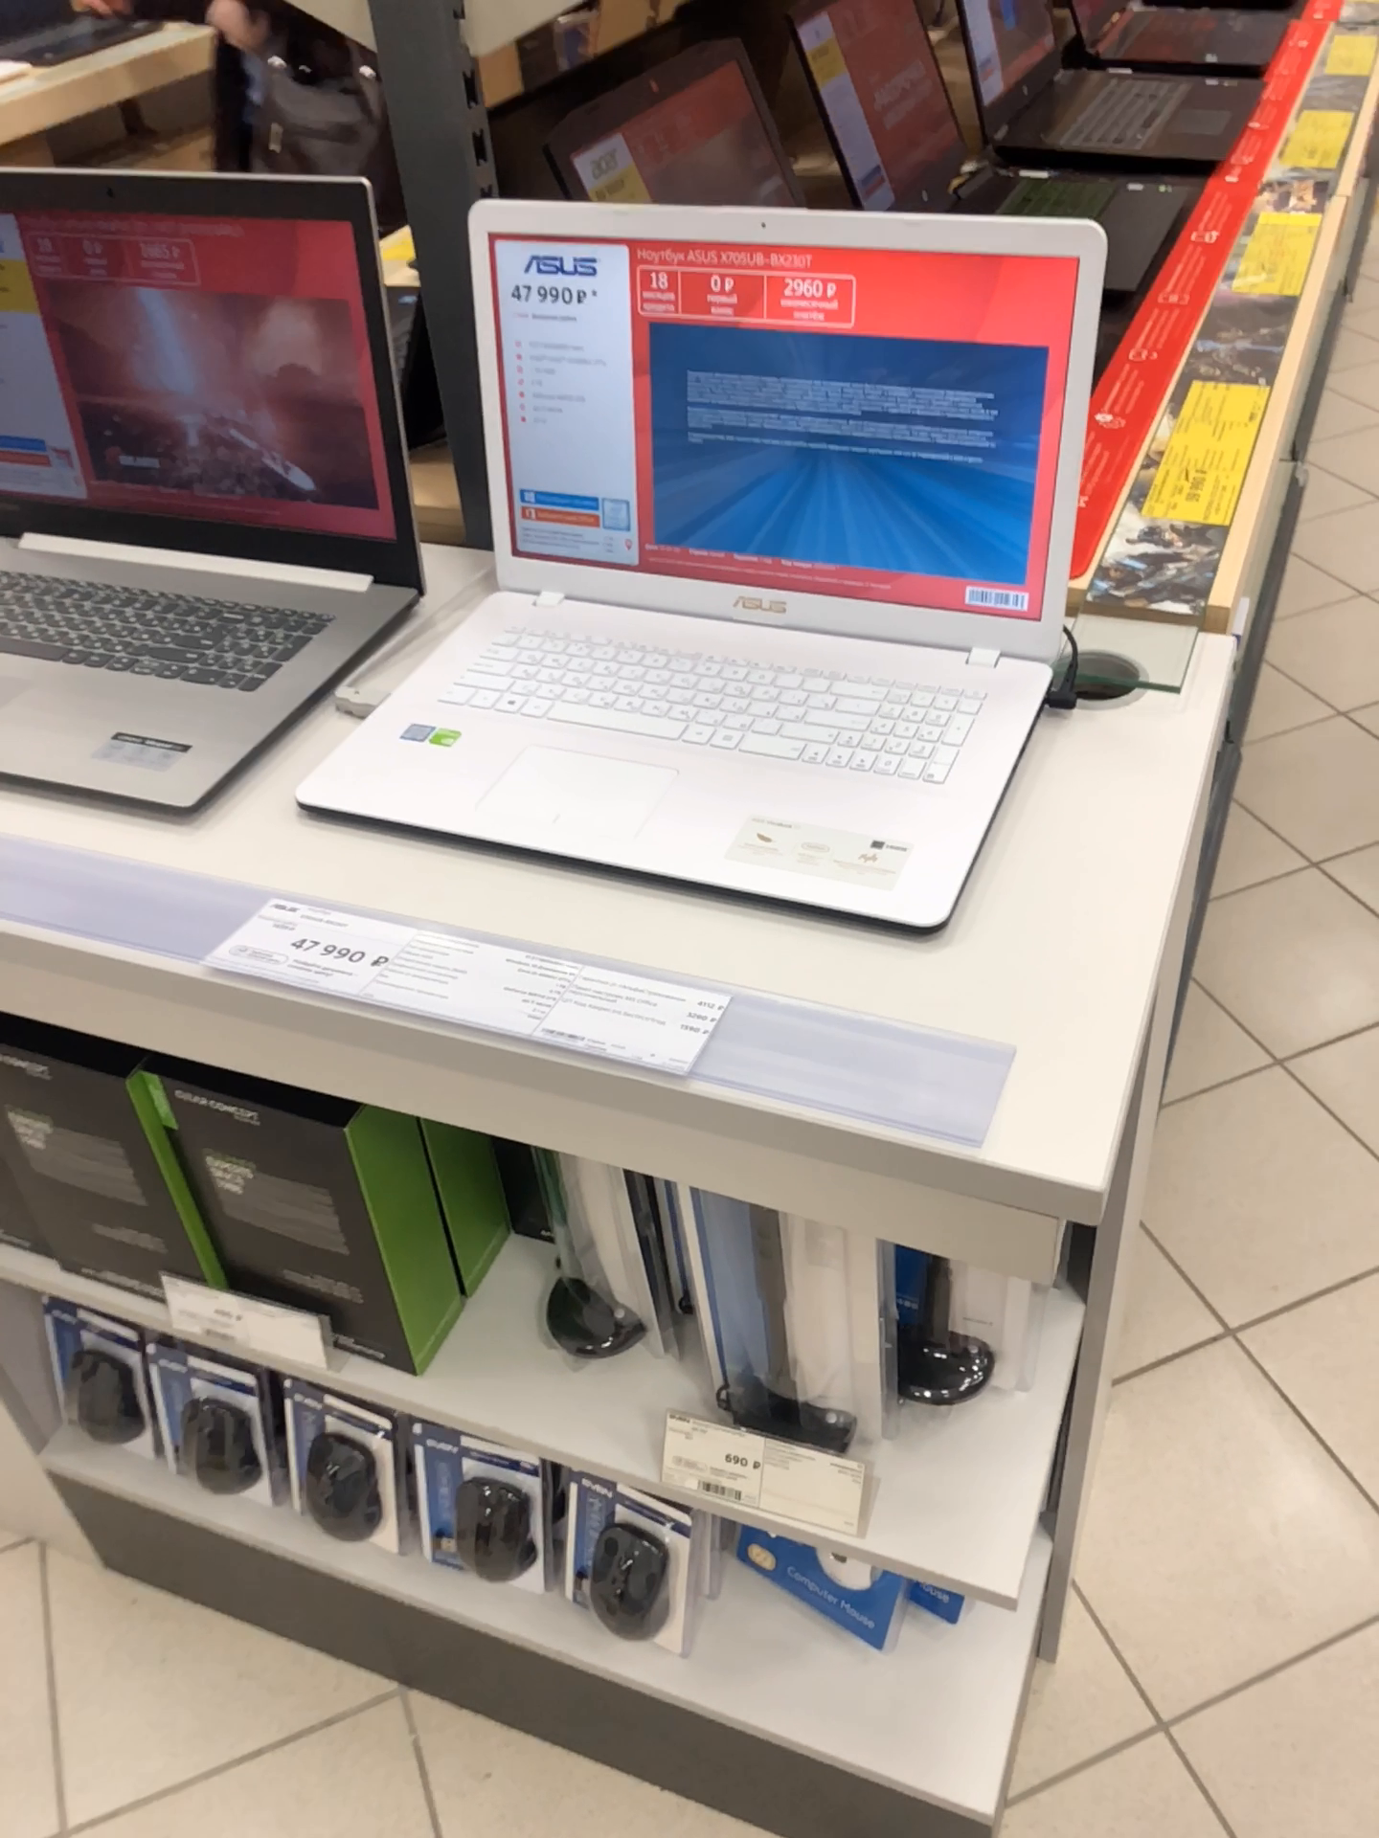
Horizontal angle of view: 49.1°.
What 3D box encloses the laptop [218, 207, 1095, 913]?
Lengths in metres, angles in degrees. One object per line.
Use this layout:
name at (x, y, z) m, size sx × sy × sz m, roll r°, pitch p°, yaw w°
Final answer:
laptop at (0.001, -0.228, 0.861) m, size 0.386 × 0.235 × 0.302 m, roll 11°, pitch 43°, yaw 20°
